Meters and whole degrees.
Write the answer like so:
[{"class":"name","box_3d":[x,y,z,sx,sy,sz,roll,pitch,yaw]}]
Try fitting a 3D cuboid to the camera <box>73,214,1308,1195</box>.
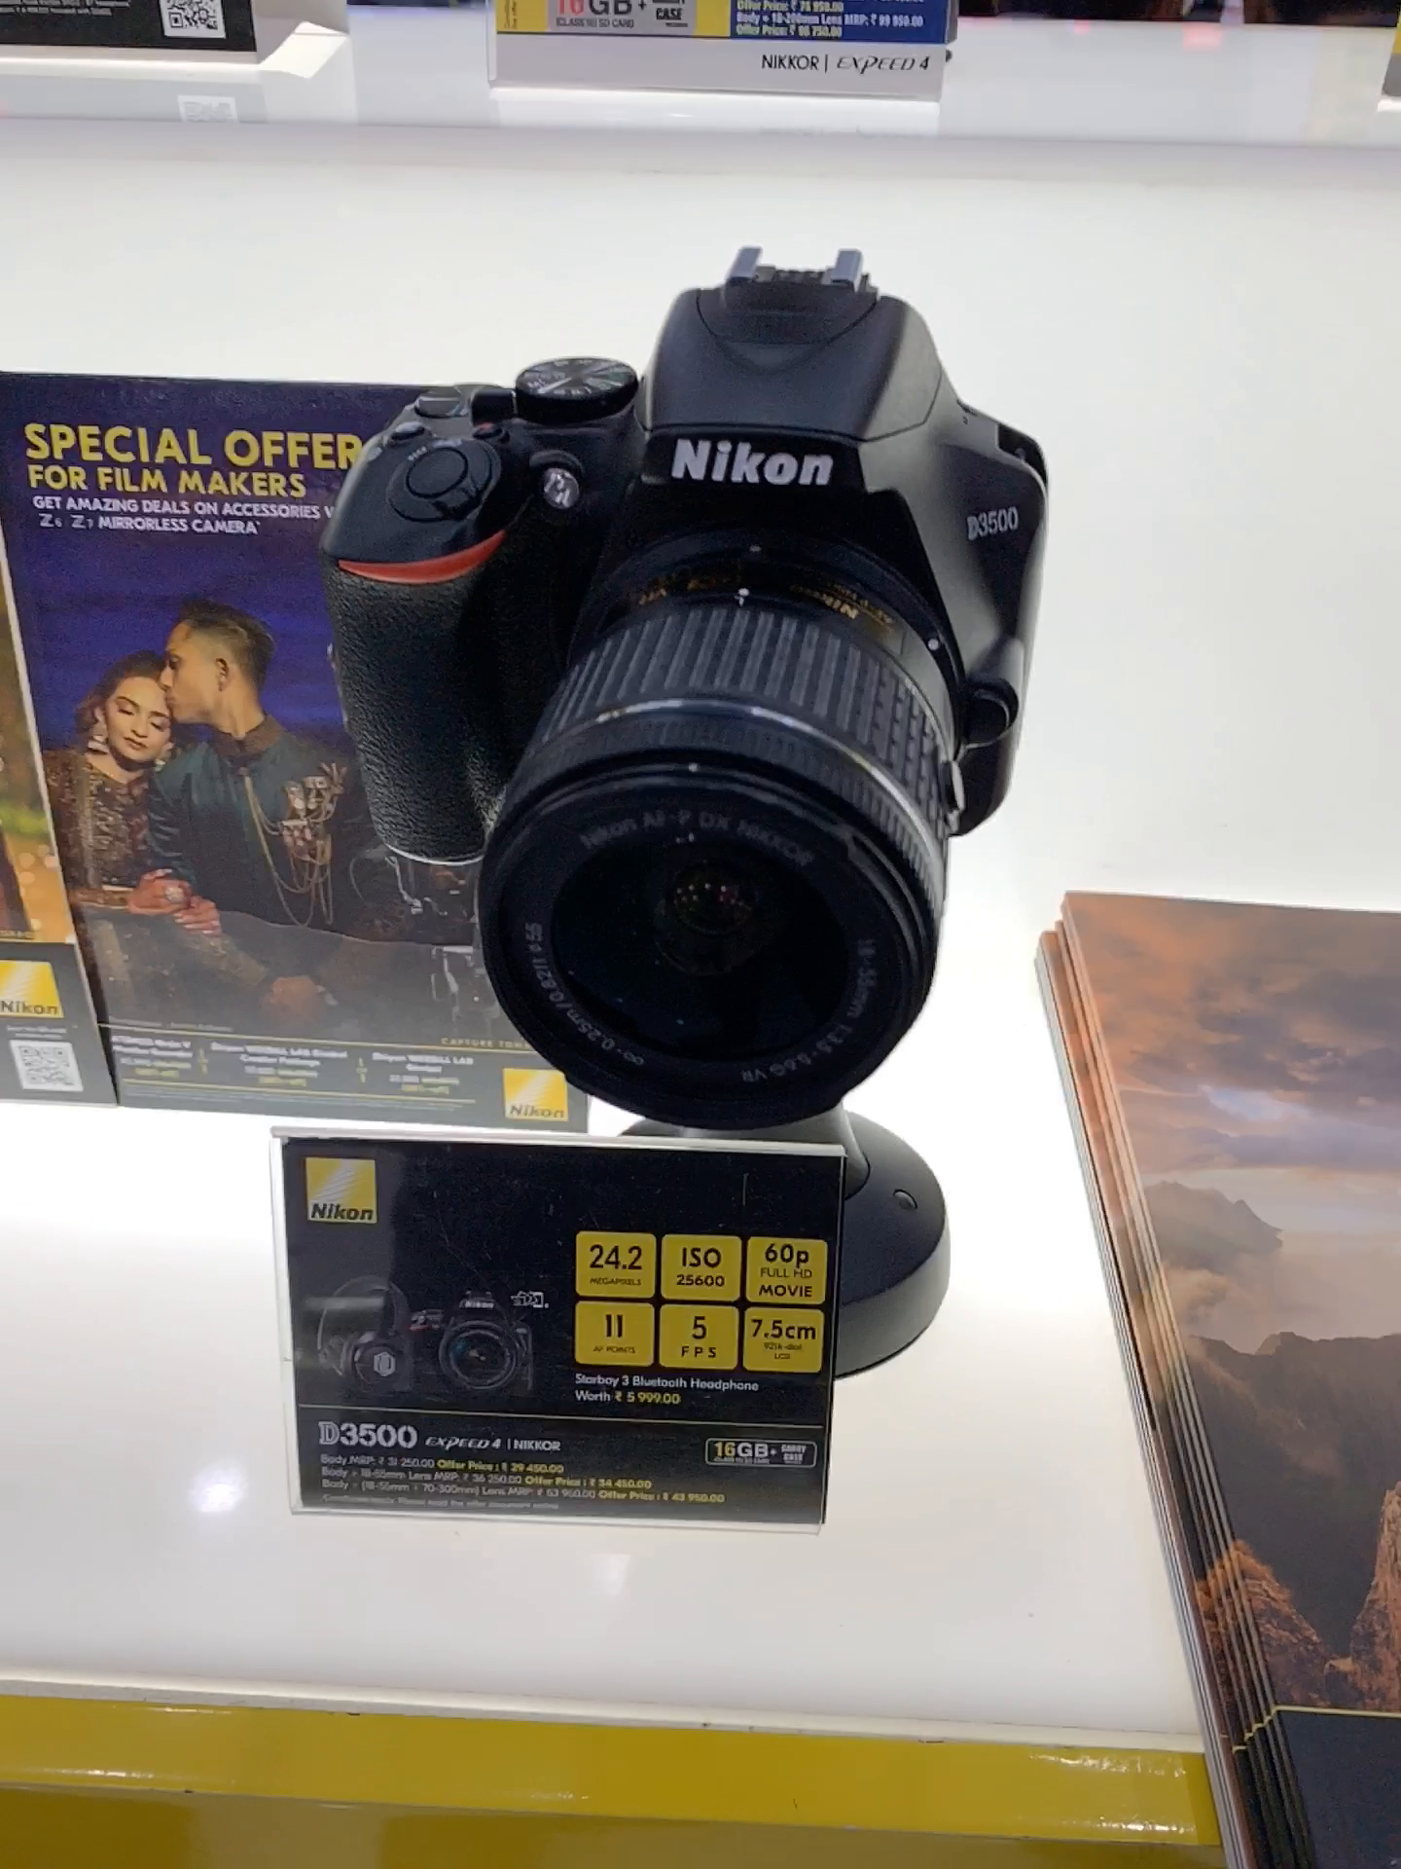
[{"class":"camera","box_3d":[0.006,-0.048,0.208,0.110,0.070,0.151,5,37,6]}]
